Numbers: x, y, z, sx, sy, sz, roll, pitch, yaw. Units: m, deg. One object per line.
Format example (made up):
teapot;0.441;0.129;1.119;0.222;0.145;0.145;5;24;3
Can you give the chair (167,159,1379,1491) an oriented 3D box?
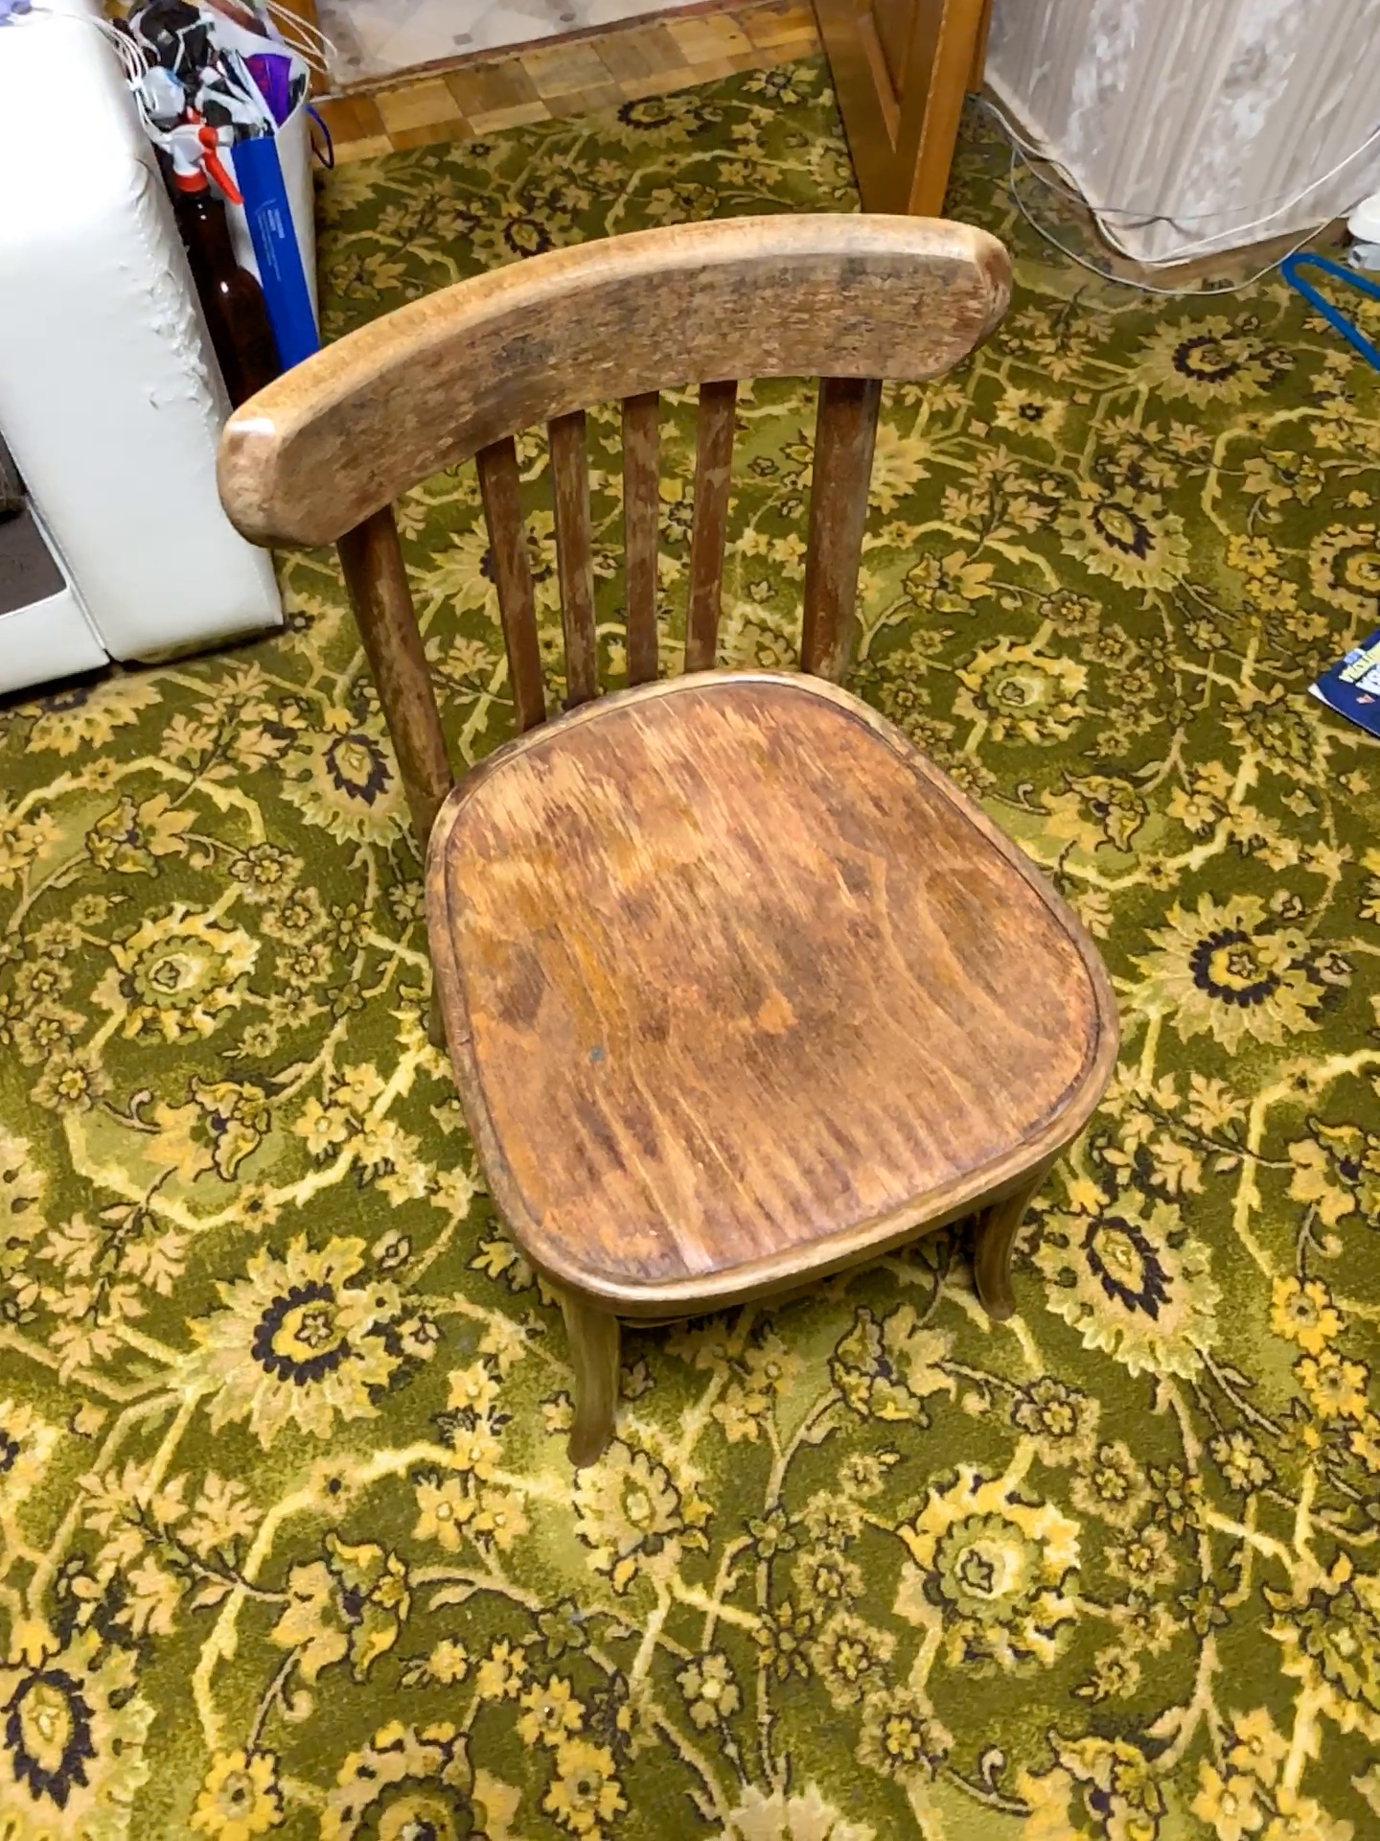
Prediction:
chair;0.018;0.030;0.884;0.400;0.736;0.412;-17;62;-10
